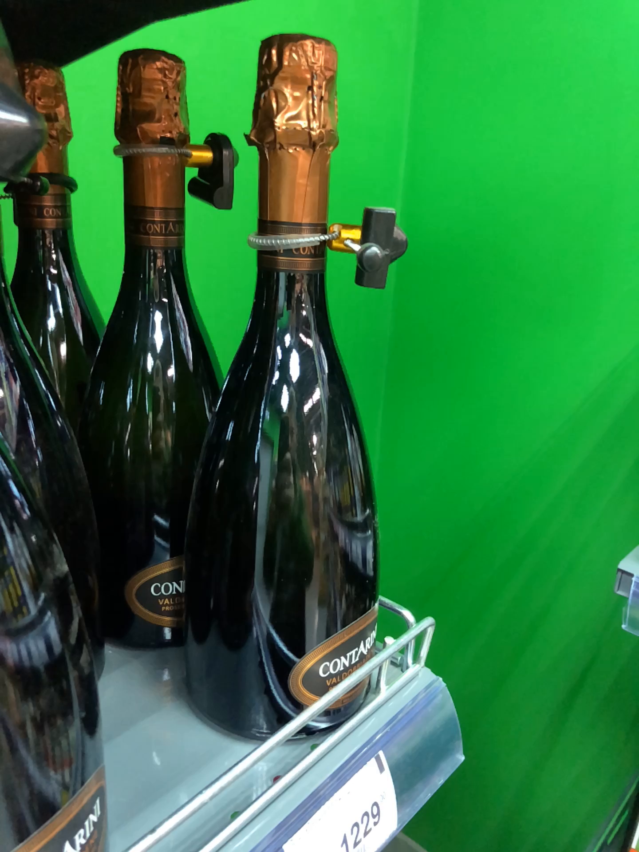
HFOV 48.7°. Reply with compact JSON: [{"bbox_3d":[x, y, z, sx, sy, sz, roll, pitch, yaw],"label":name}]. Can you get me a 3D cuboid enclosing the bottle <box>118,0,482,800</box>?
[{"bbox_3d":[-0.013,-0.010,0.315,0.100,0.299,0.100,3,17,-1],"label":"bottle"}]
